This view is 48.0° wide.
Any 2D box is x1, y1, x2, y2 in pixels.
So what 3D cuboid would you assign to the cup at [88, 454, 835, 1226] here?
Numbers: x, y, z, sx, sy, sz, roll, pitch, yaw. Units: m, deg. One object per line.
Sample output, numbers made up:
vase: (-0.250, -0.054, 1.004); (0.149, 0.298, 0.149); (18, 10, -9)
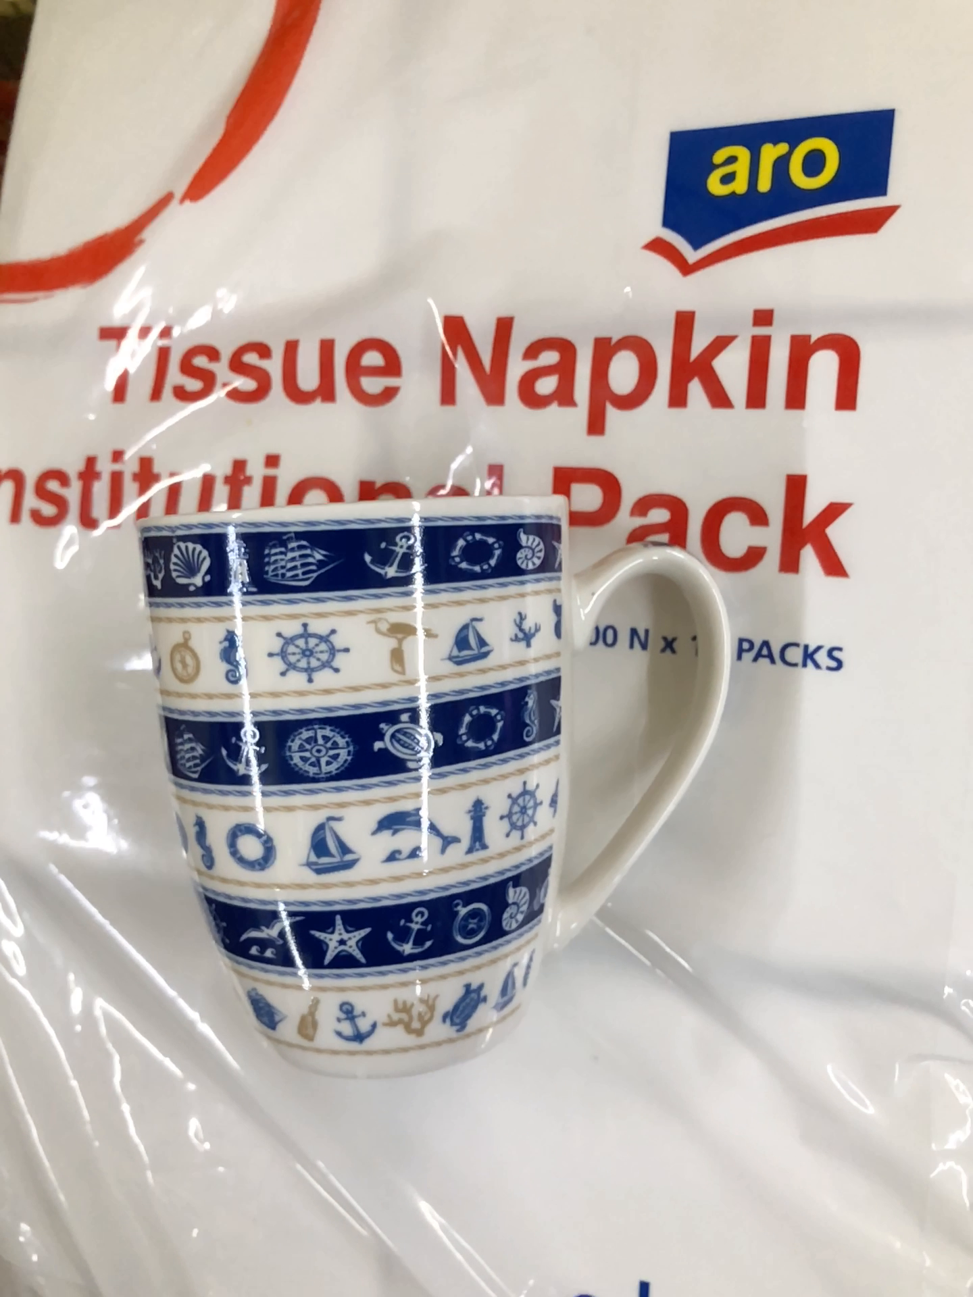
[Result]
cup: (-0.007, 0.022, 0.215); (0.120, 0.080, 0.110); (-2, 96, -23)
